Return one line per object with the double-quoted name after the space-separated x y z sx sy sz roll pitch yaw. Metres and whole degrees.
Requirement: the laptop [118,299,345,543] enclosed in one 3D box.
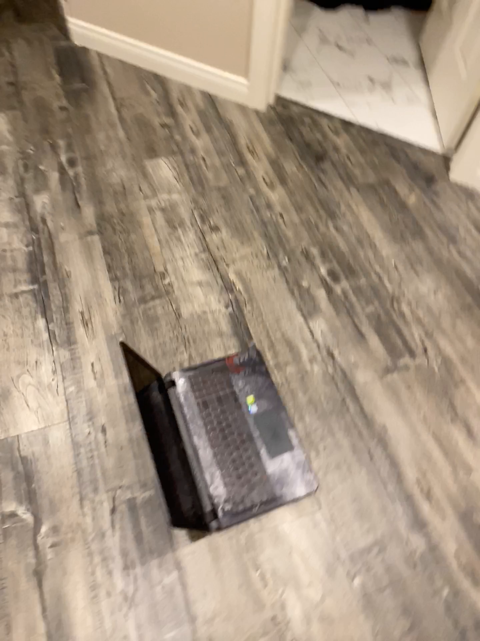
-0.035 0.202 1.035 0.327 0.225 0.372 -16 60 -14 "laptop"
